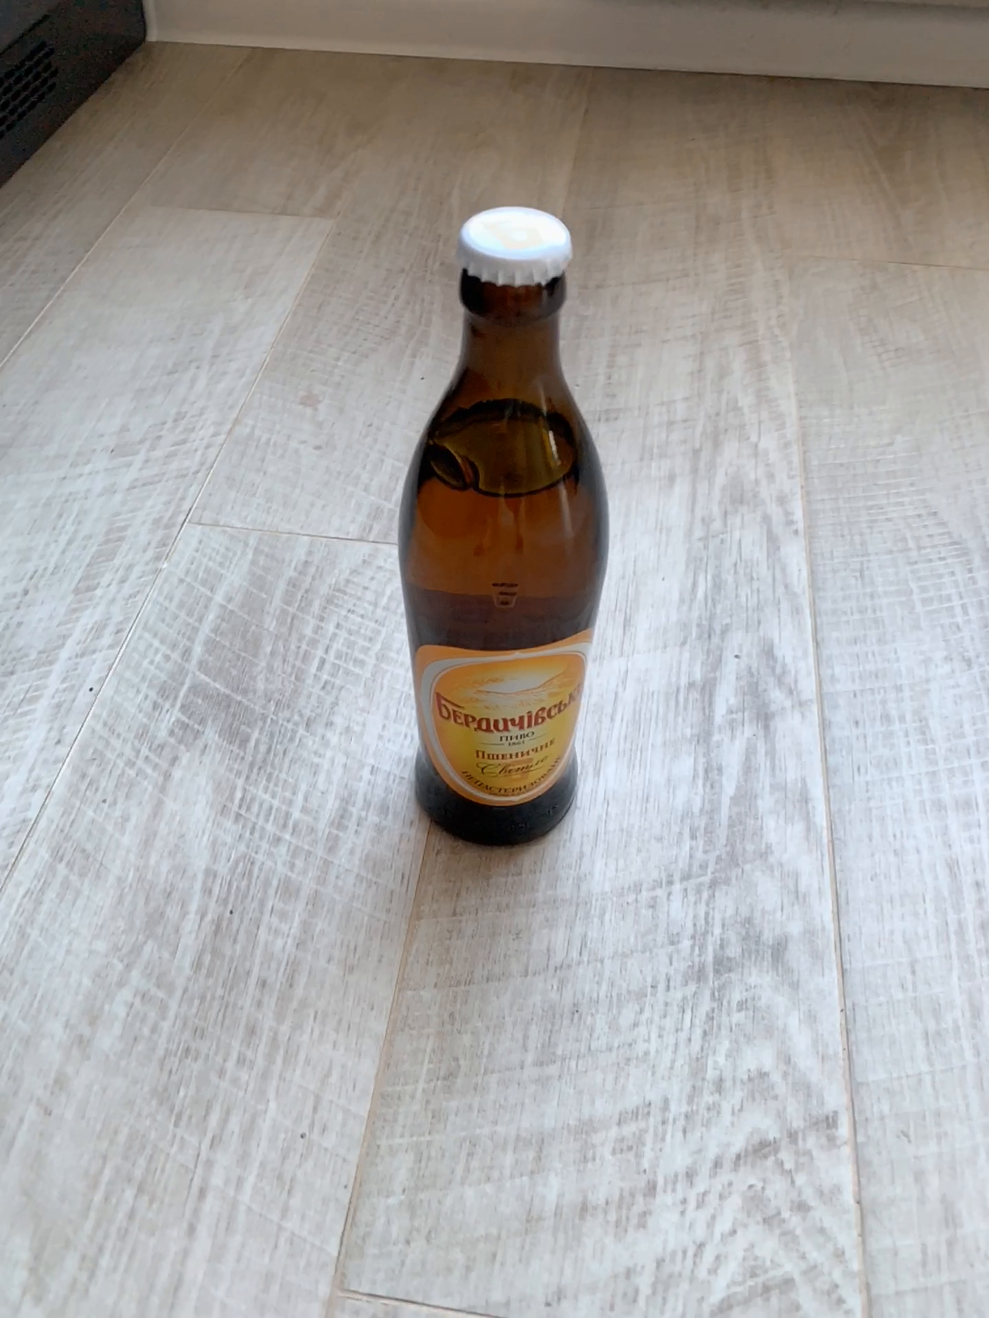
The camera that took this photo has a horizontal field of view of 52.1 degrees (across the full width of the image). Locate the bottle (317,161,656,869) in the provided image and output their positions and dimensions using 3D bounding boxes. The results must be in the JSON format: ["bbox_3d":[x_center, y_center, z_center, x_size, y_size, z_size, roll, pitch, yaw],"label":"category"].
[{"bbox_3d":[-0.004,-0.023,0.319,0.070,0.229,0.070,0,50,0],"label":"bottle"}]
